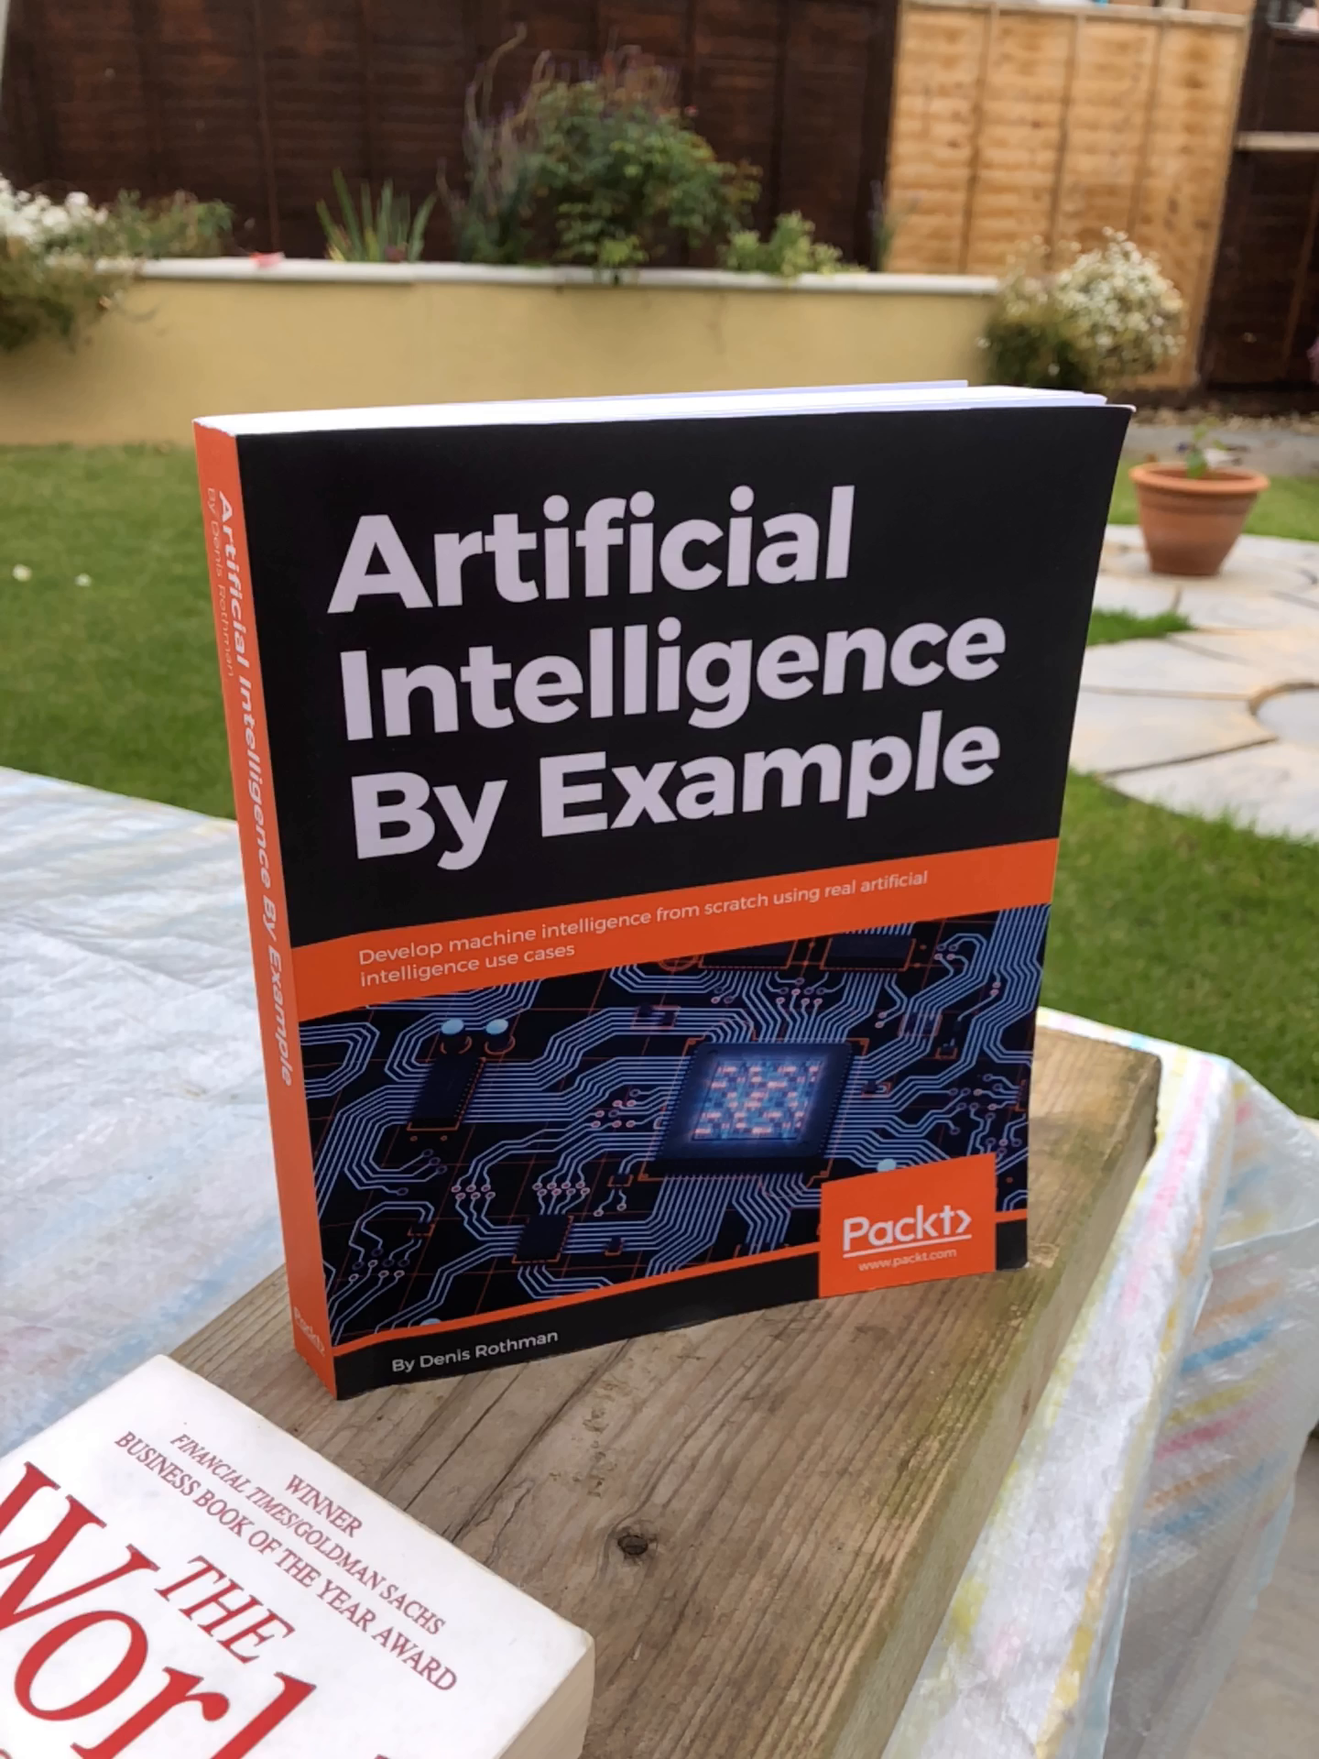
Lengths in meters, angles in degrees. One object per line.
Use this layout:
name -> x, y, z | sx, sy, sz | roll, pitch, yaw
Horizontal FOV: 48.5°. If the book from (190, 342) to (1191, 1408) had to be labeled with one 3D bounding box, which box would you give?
book -> 0.009, -0.002, 0.354 | 0.210, 0.239, 0.040 | -6, 23, -16
